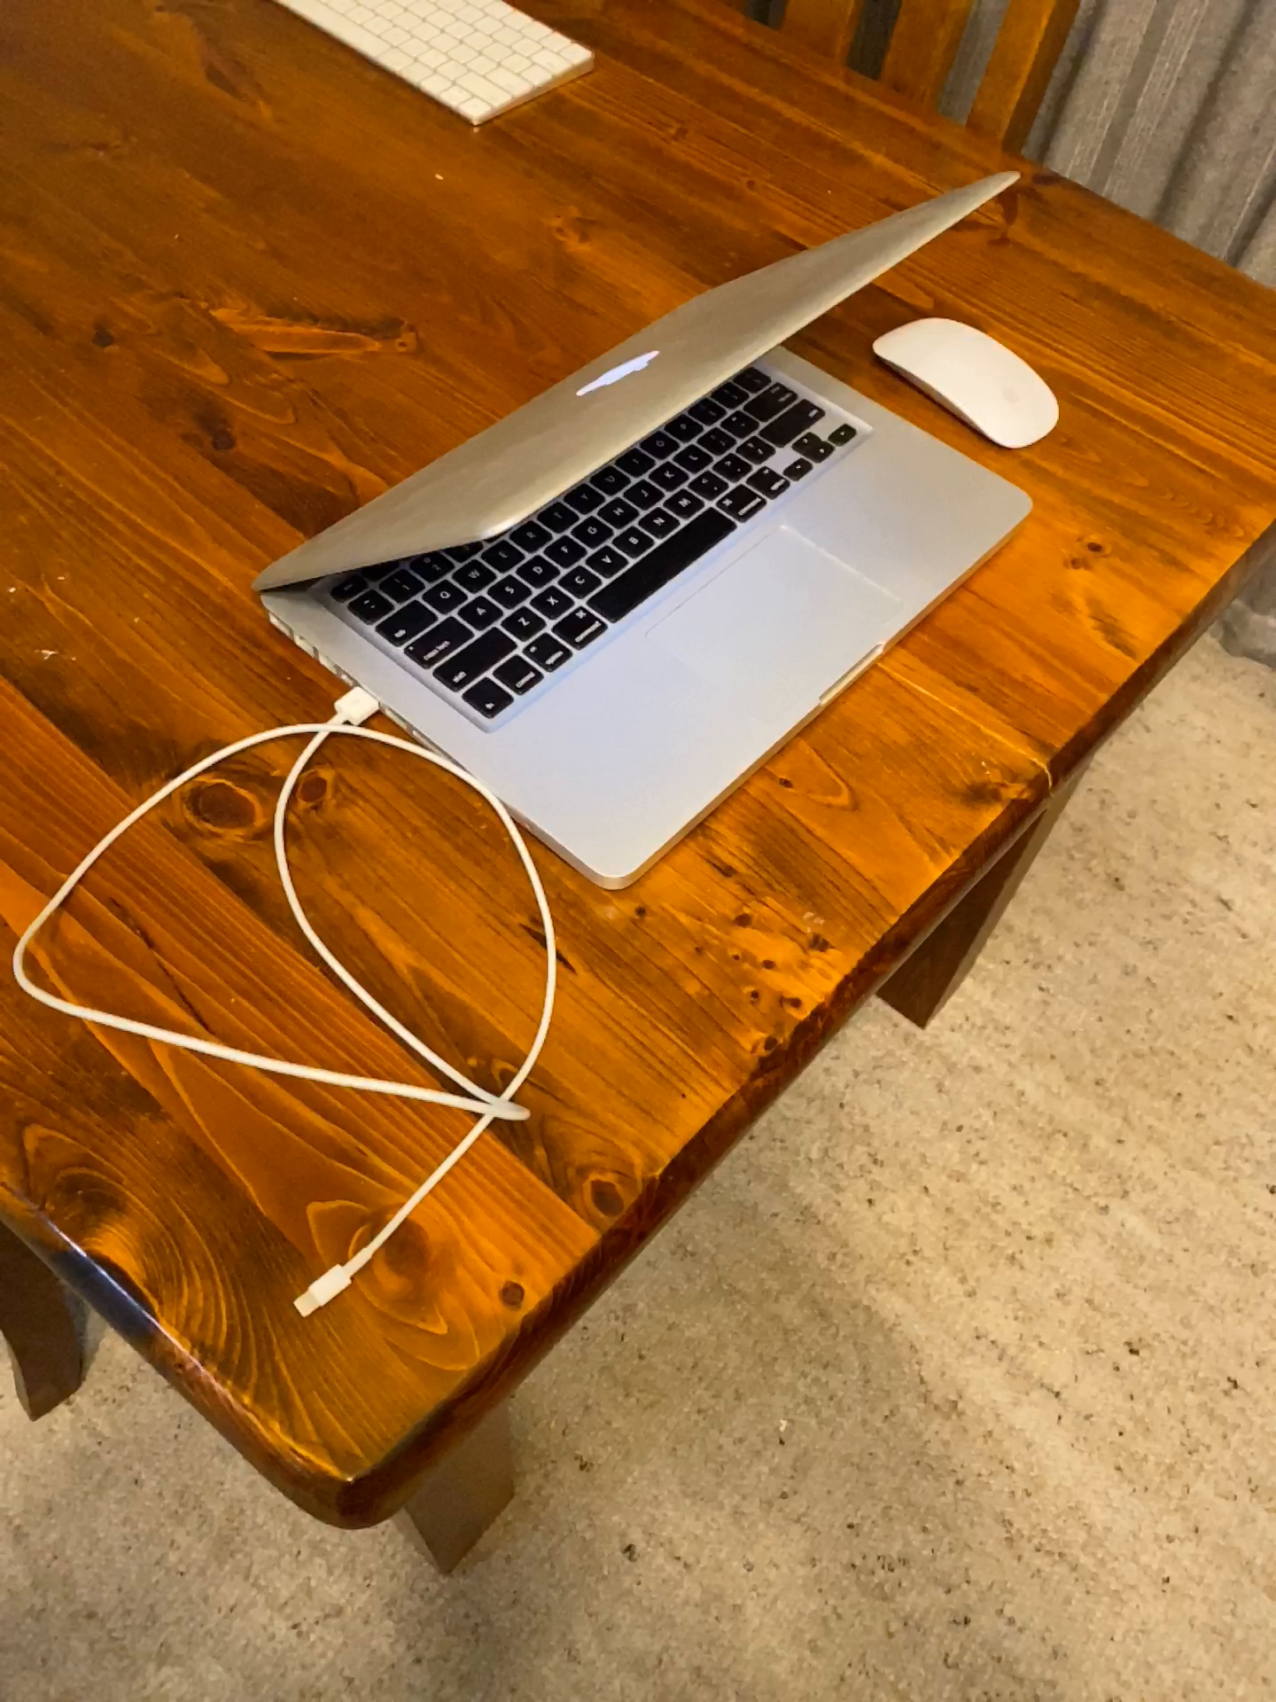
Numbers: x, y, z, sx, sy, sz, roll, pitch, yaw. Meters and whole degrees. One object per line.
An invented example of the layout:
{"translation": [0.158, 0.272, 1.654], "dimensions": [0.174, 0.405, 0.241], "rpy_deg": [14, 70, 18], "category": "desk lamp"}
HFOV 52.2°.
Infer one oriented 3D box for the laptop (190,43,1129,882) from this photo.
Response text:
{"translation": [0.017, -0.181, 0.558], "dimensions": [0.211, 0.136, 0.311], "rpy_deg": [39, 62, 18], "category": "laptop"}
